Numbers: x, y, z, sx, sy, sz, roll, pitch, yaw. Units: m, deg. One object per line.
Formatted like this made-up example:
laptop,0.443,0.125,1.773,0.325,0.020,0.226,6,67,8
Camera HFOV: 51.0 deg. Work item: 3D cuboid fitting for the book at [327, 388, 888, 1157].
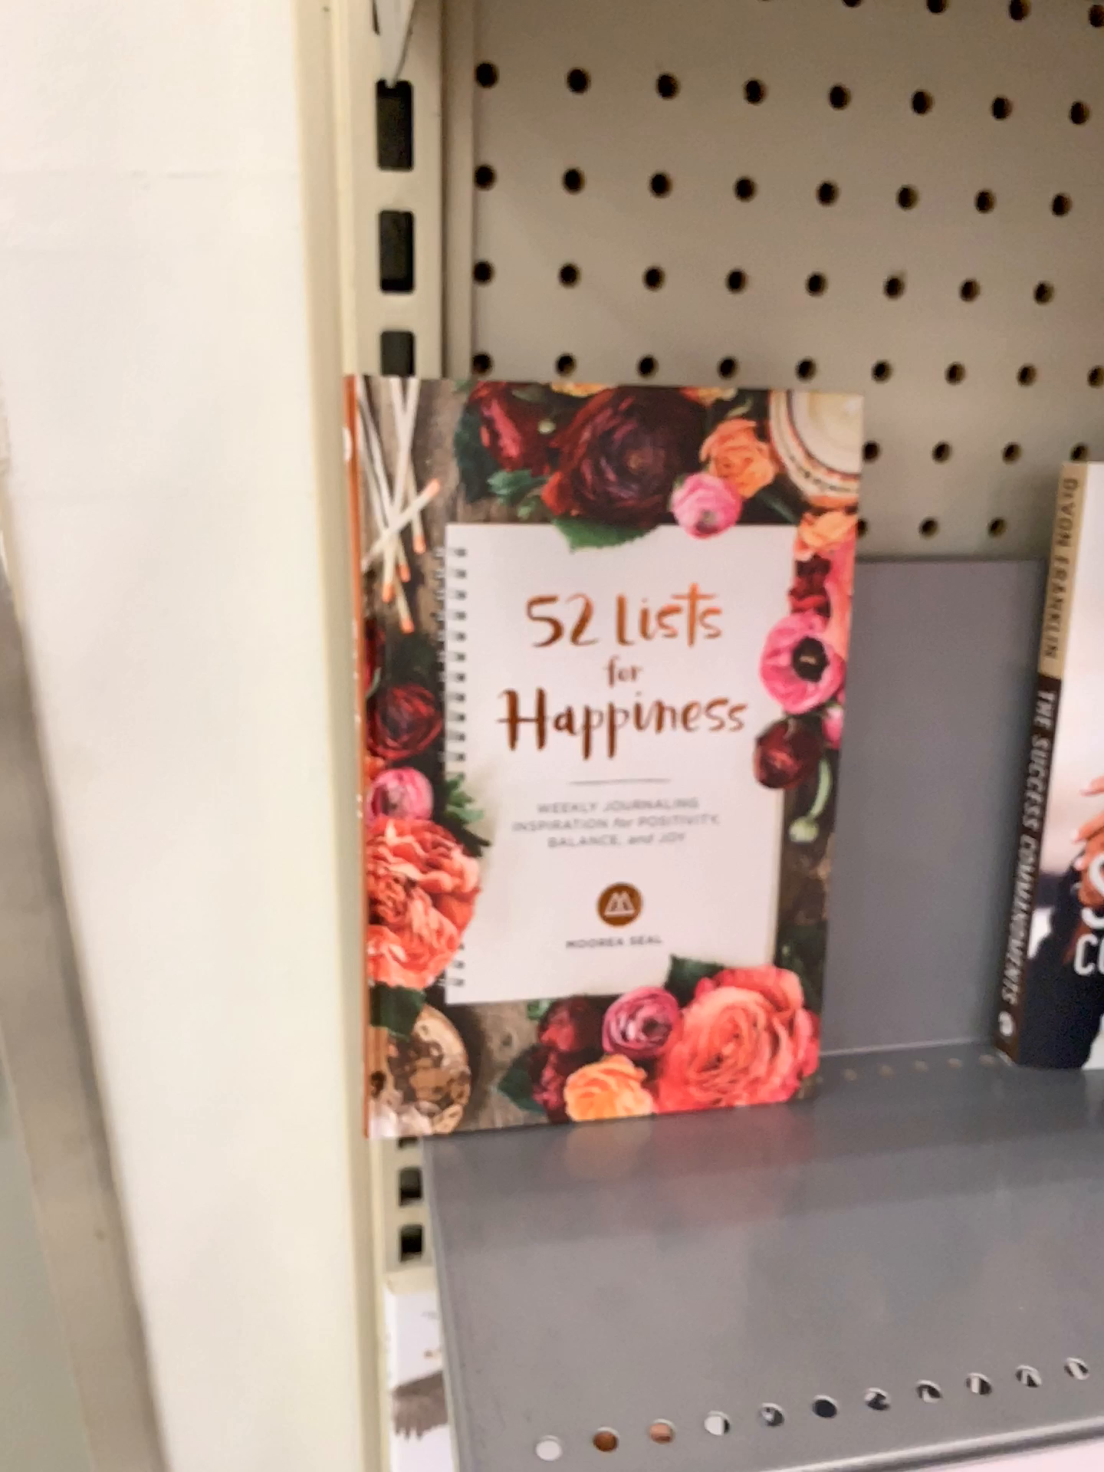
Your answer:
book,0.016,0.013,0.336,0.150,0.216,0.020,-2,13,-9
